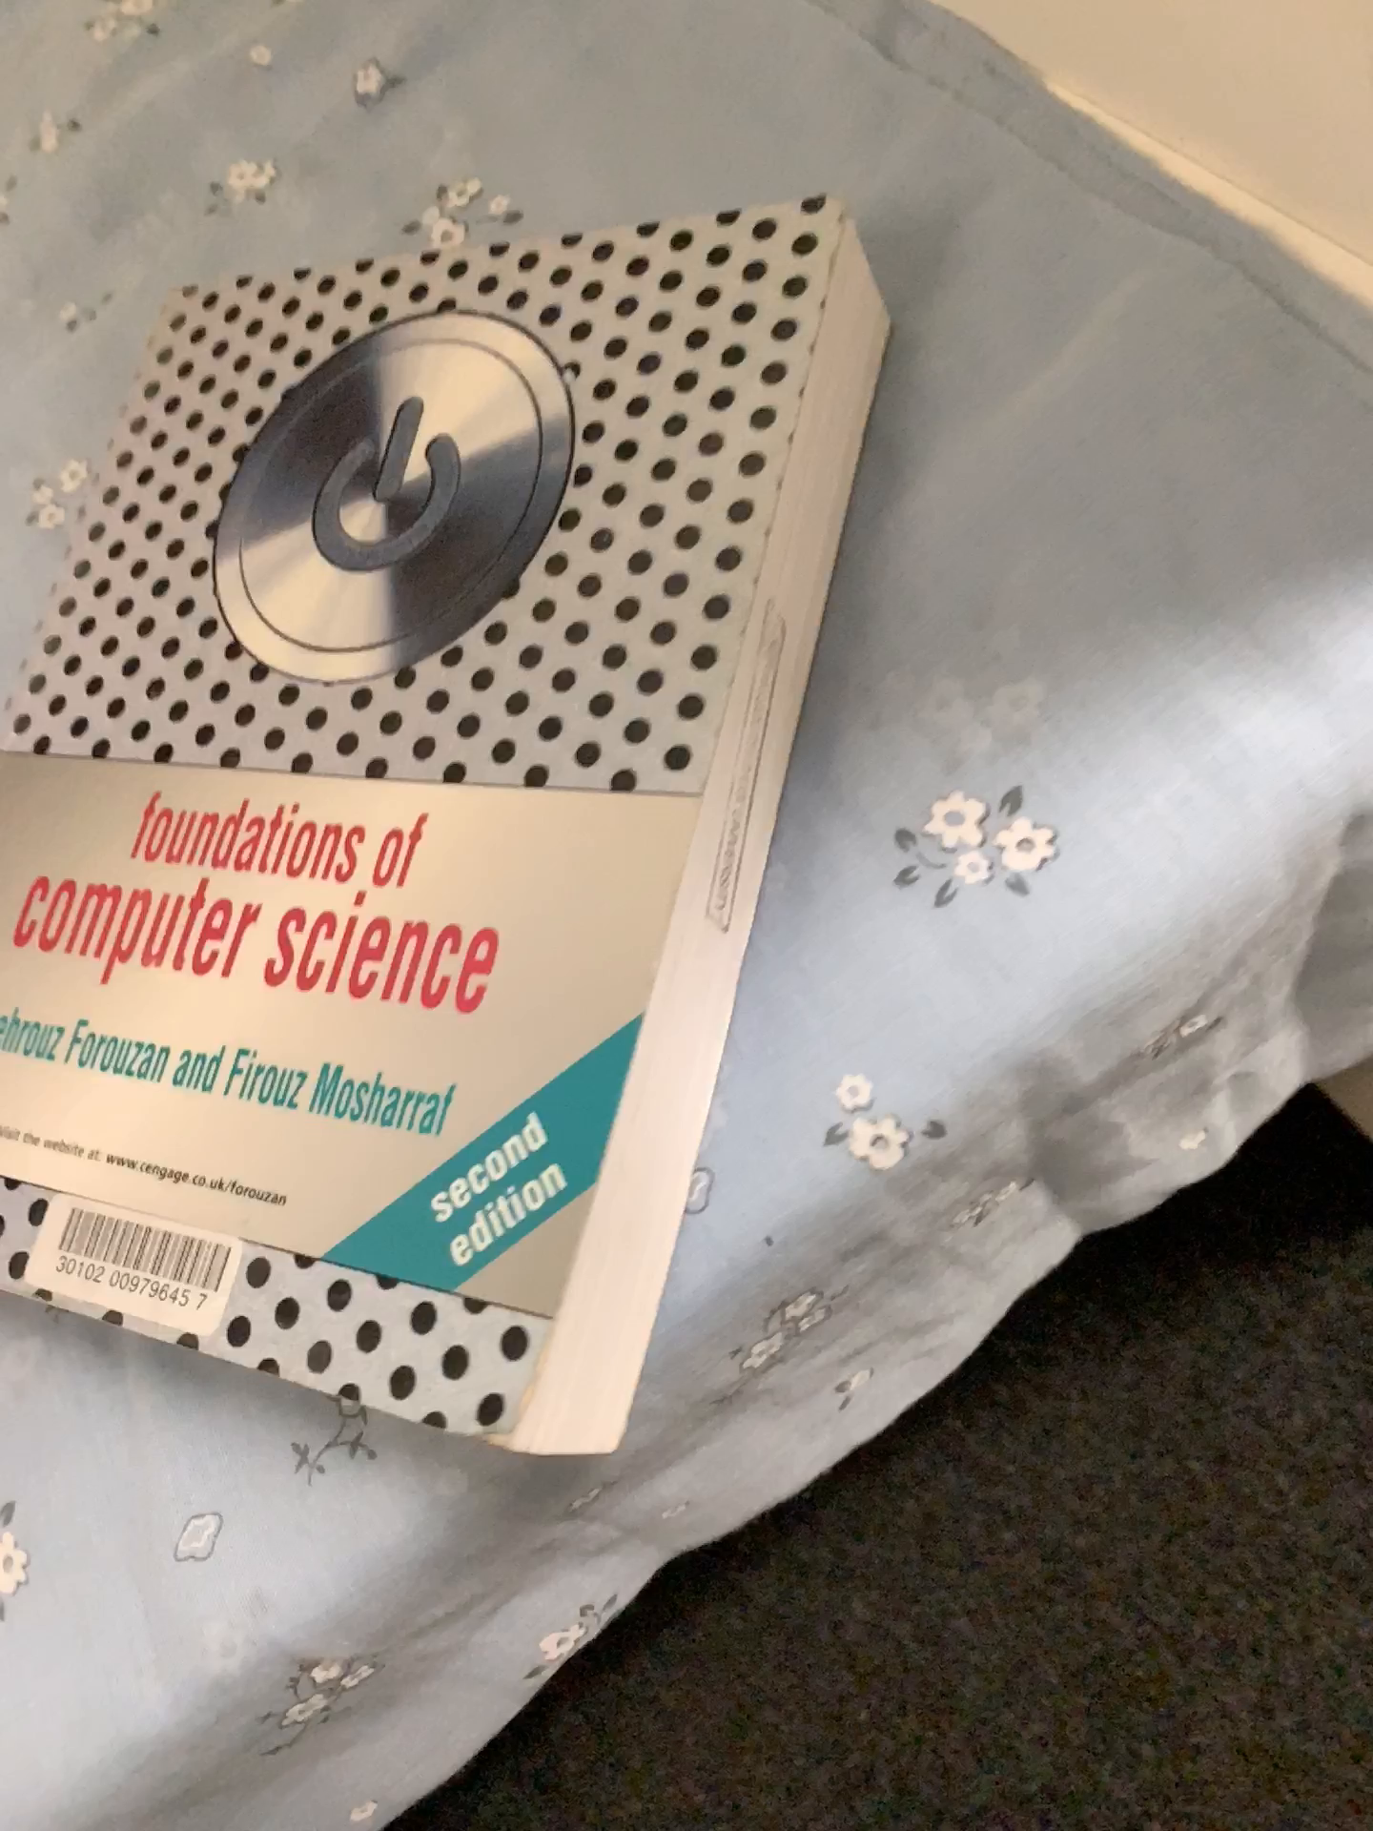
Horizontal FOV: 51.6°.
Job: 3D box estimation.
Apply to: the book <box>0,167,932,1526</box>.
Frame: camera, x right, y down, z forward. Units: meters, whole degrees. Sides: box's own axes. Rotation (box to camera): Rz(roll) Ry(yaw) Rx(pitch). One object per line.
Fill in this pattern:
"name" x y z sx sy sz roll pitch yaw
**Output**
"book" -0.069 -0.030 0.296 0.192 0.040 0.246 5 71 27
